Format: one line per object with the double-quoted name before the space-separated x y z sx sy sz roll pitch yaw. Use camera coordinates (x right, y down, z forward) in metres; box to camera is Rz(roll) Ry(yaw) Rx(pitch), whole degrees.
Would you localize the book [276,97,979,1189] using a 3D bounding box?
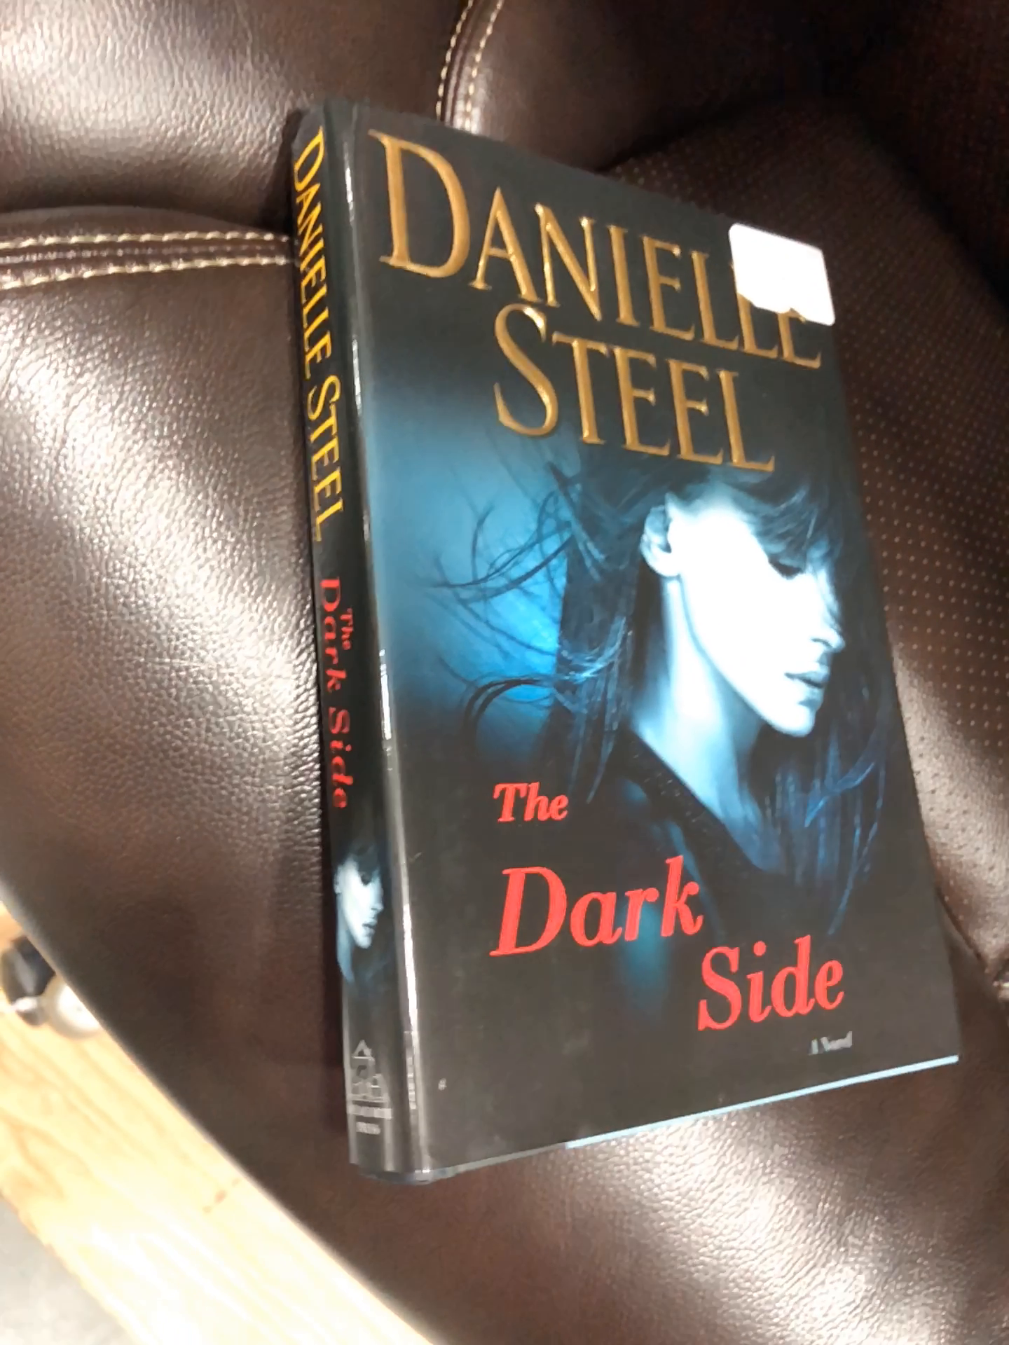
"book" 0.033 -0.011 0.298 0.169 0.040 0.237 2 76 -31
